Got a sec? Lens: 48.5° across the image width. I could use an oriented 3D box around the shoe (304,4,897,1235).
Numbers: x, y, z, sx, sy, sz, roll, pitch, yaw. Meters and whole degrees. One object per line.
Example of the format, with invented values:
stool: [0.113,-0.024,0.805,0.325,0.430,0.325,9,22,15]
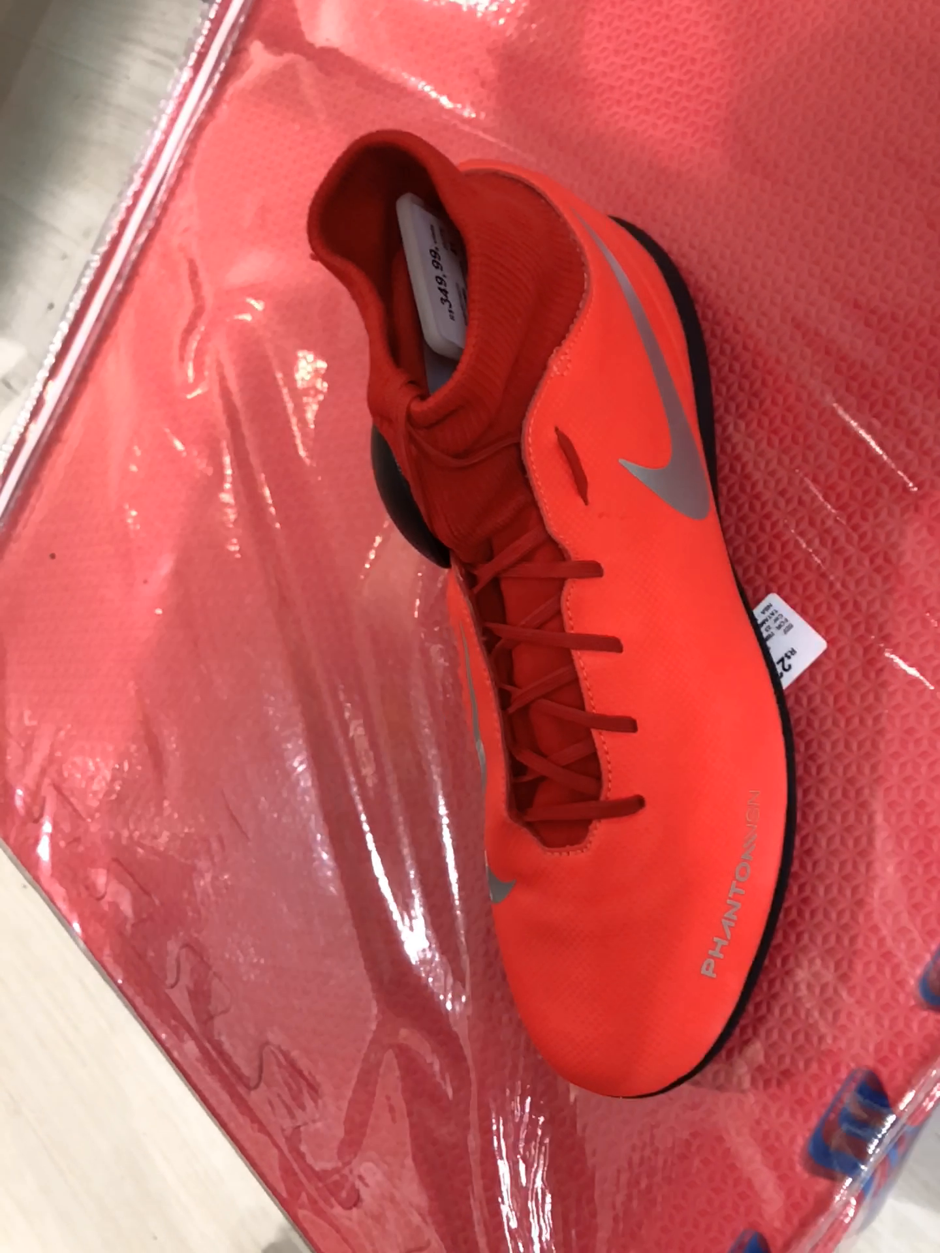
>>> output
shoe: [0.033,-0.001,0.276,0.090,0.120,0.250,-13,73,29]
